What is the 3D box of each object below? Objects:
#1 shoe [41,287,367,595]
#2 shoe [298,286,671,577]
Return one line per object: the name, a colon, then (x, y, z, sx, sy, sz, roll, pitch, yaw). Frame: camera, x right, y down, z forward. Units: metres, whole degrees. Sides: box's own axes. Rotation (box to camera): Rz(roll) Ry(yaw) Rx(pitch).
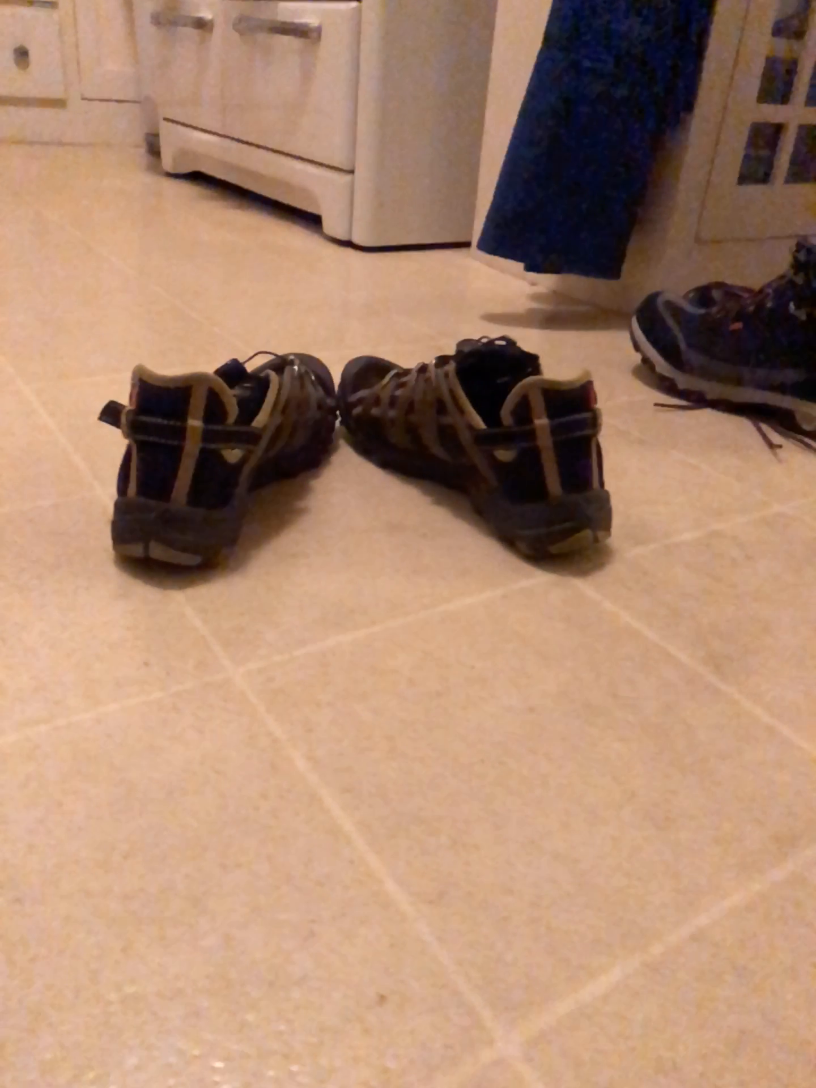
shoe: (-0.121, -0.090, 0.626, 0.100, 0.109, 0.281, 11, 29, 11)
shoe: (0.038, -0.101, 0.675, 0.109, 0.111, 0.287, -15, 34, -33)
